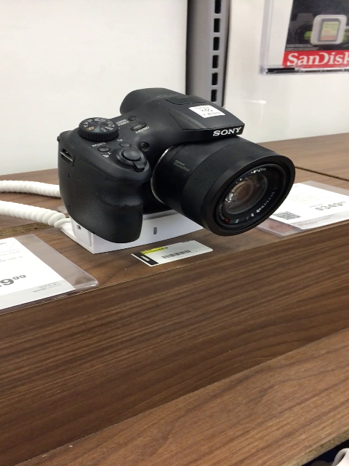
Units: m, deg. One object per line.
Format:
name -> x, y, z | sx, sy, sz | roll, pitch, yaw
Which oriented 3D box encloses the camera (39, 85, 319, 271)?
camera -> -0.004, -0.048, 0.334 | 0.133, 0.088, 0.112 | -17, 41, -32
